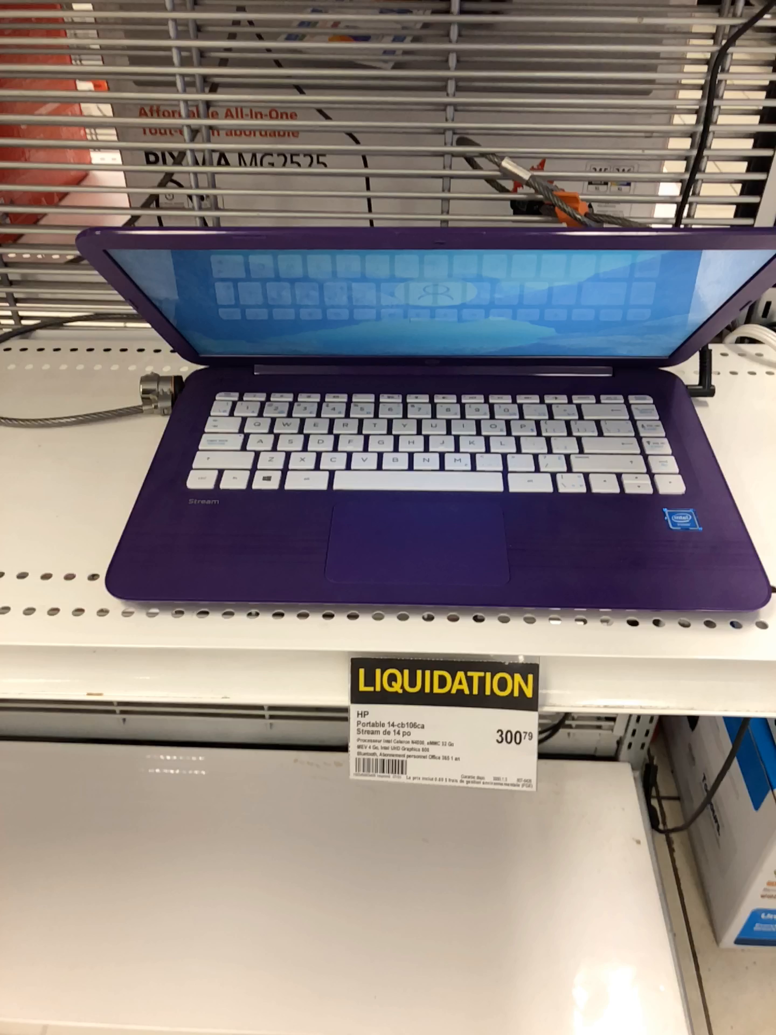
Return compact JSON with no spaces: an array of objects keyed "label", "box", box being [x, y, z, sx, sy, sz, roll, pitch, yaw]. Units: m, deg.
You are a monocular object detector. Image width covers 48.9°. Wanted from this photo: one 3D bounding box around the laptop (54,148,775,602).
[{"label":"laptop","box":[0.026,-0.084,0.451,0.305,0.138,0.207,1,42,2]}]
